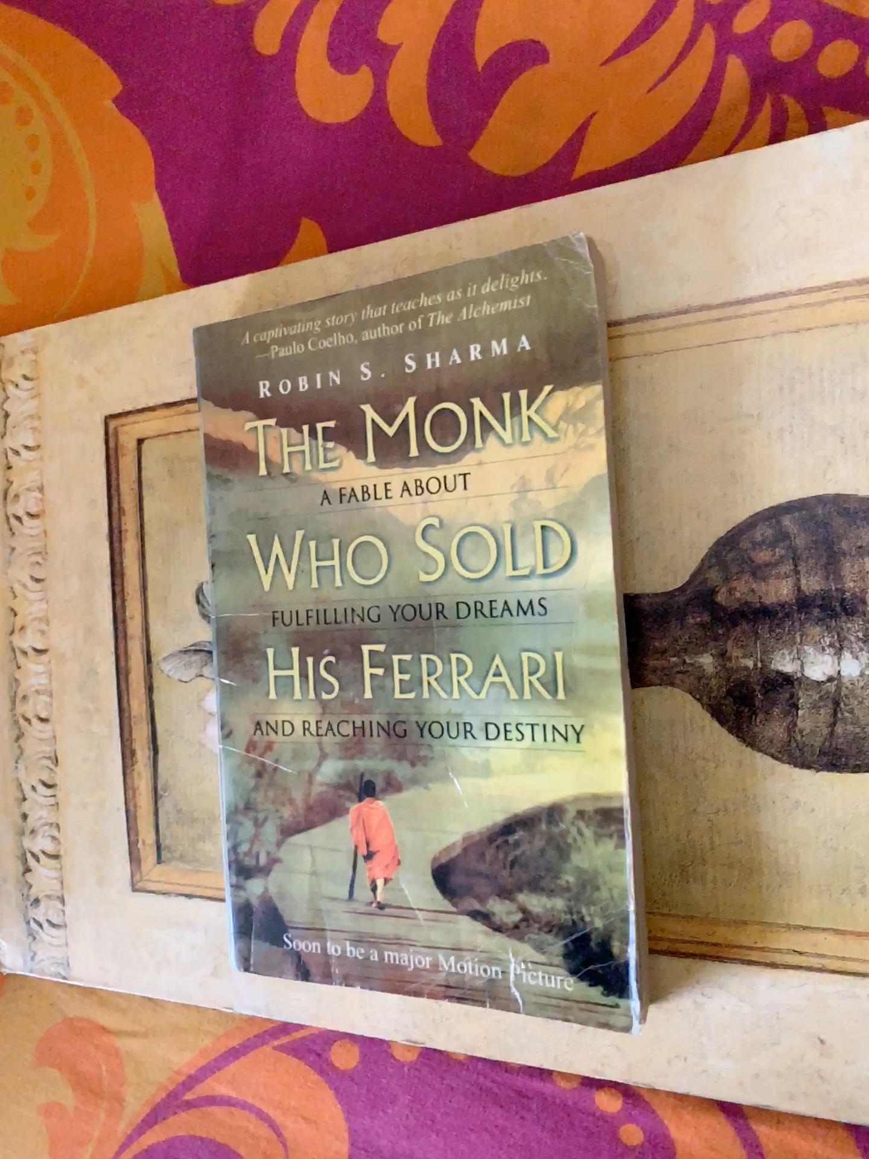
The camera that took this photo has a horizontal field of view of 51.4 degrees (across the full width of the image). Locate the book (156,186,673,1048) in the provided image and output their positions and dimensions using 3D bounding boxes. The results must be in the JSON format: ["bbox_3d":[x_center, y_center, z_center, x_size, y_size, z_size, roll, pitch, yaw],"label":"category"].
[{"bbox_3d":[-0.010,0.012,0.250,0.130,0.030,0.200,-4,89,24],"label":"book"}]
